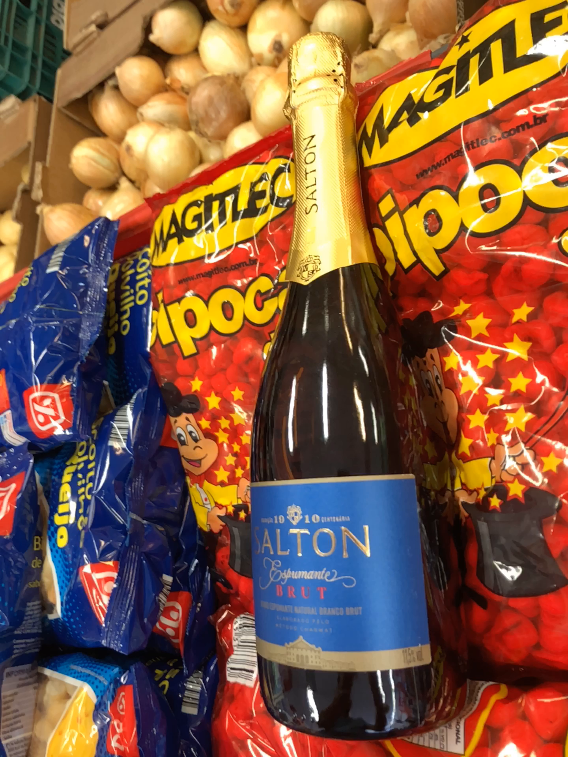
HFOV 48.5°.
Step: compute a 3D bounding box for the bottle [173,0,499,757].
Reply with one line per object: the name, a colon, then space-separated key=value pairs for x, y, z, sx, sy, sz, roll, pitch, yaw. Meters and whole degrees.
bottle: x=0.019 y=-0.015 z=0.277 sx=0.090 sy=0.080 sz=0.310 roll=-9 pitch=81 yaw=37
